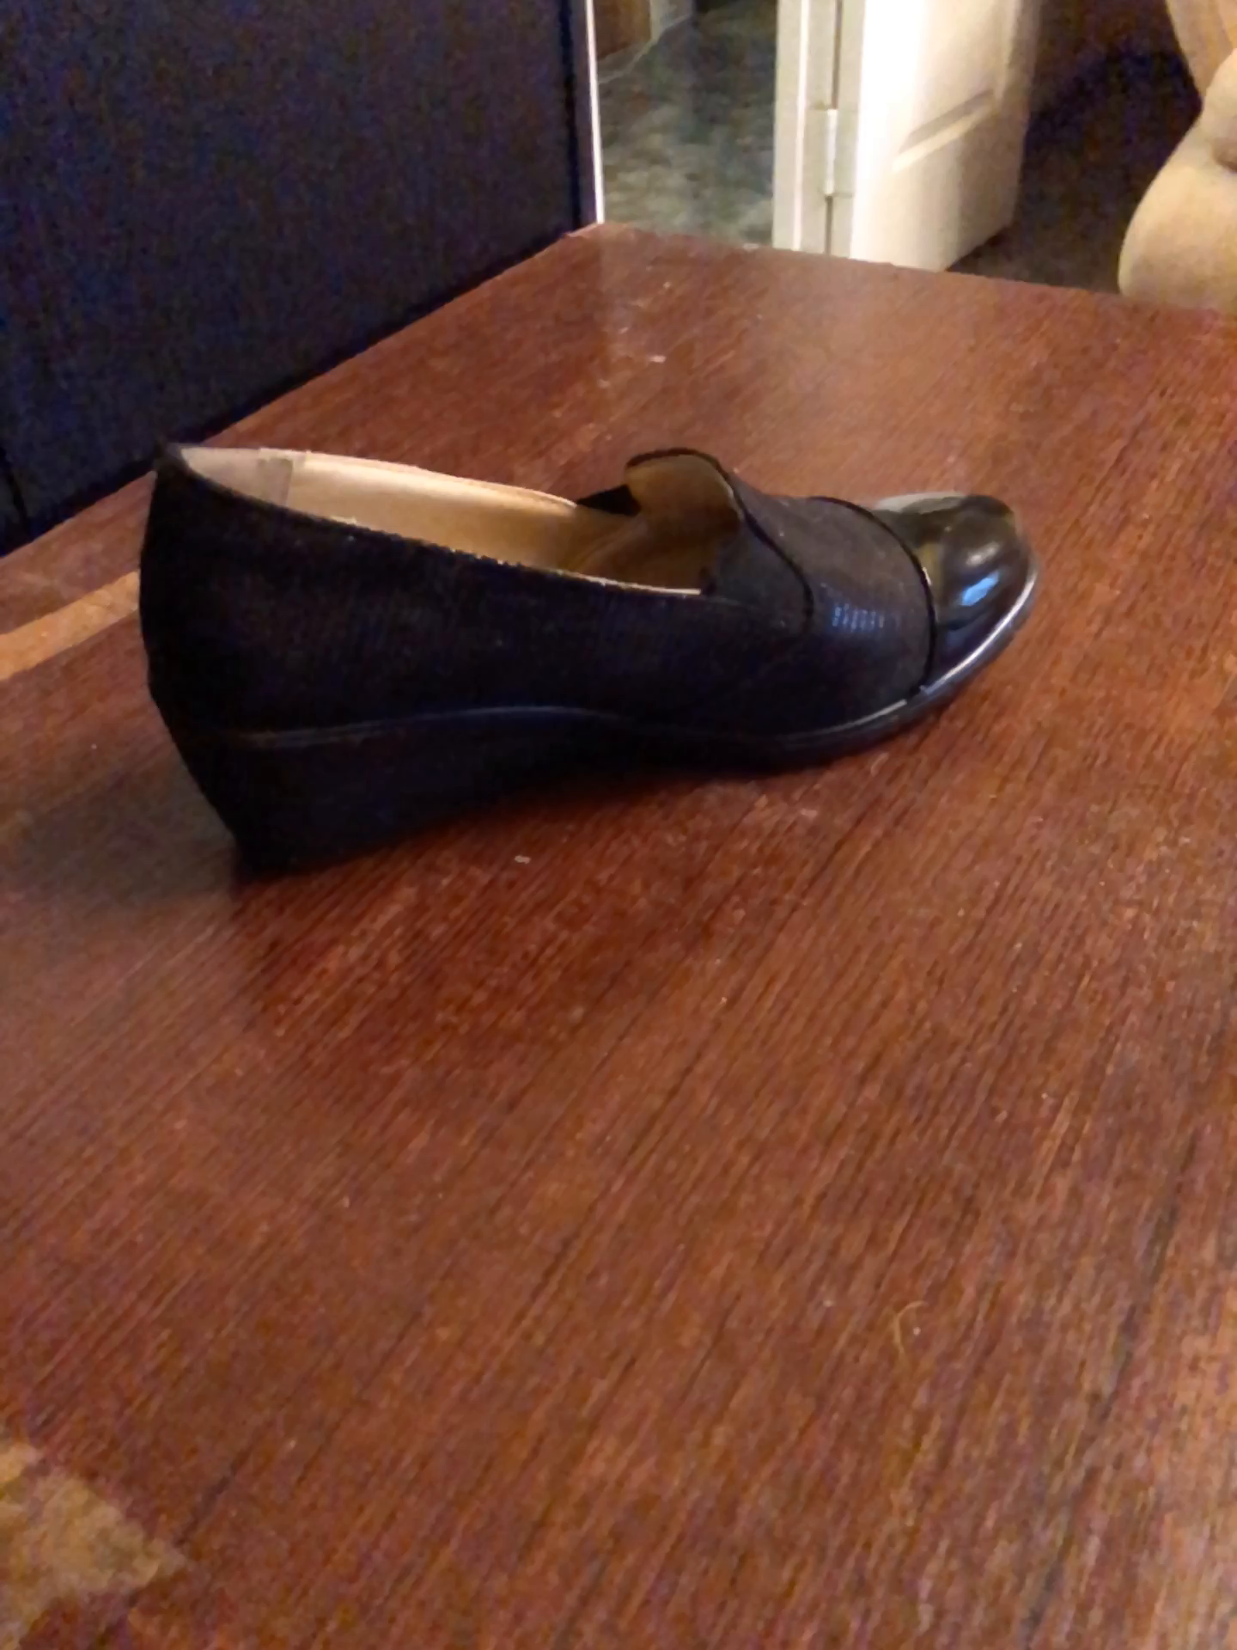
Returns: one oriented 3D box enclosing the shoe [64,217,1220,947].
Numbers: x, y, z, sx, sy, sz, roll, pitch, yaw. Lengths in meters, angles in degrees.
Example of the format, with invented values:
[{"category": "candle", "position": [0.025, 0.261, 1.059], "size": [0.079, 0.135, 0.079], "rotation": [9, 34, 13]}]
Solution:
[{"category": "shoe", "position": [0.007, -0.067, 0.327], "size": [0.235, 0.090, 0.090], "rotation": [-17, 42, -15]}]
